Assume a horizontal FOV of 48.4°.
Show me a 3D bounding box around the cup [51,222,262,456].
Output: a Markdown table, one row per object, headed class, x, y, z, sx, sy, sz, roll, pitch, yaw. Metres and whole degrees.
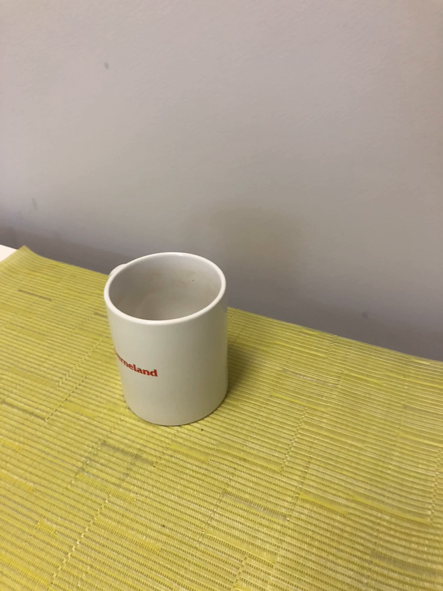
| class | x | y | z | sx | sy | sz | roll | pitch | yaw |
| --- | --- | --- | --- | --- | --- | --- | --- | --- | --- |
| cup | -0.045 | 0.025 | 0.358 | 0.089 | 0.100 | 0.114 | -29 | 45 | -35 |
